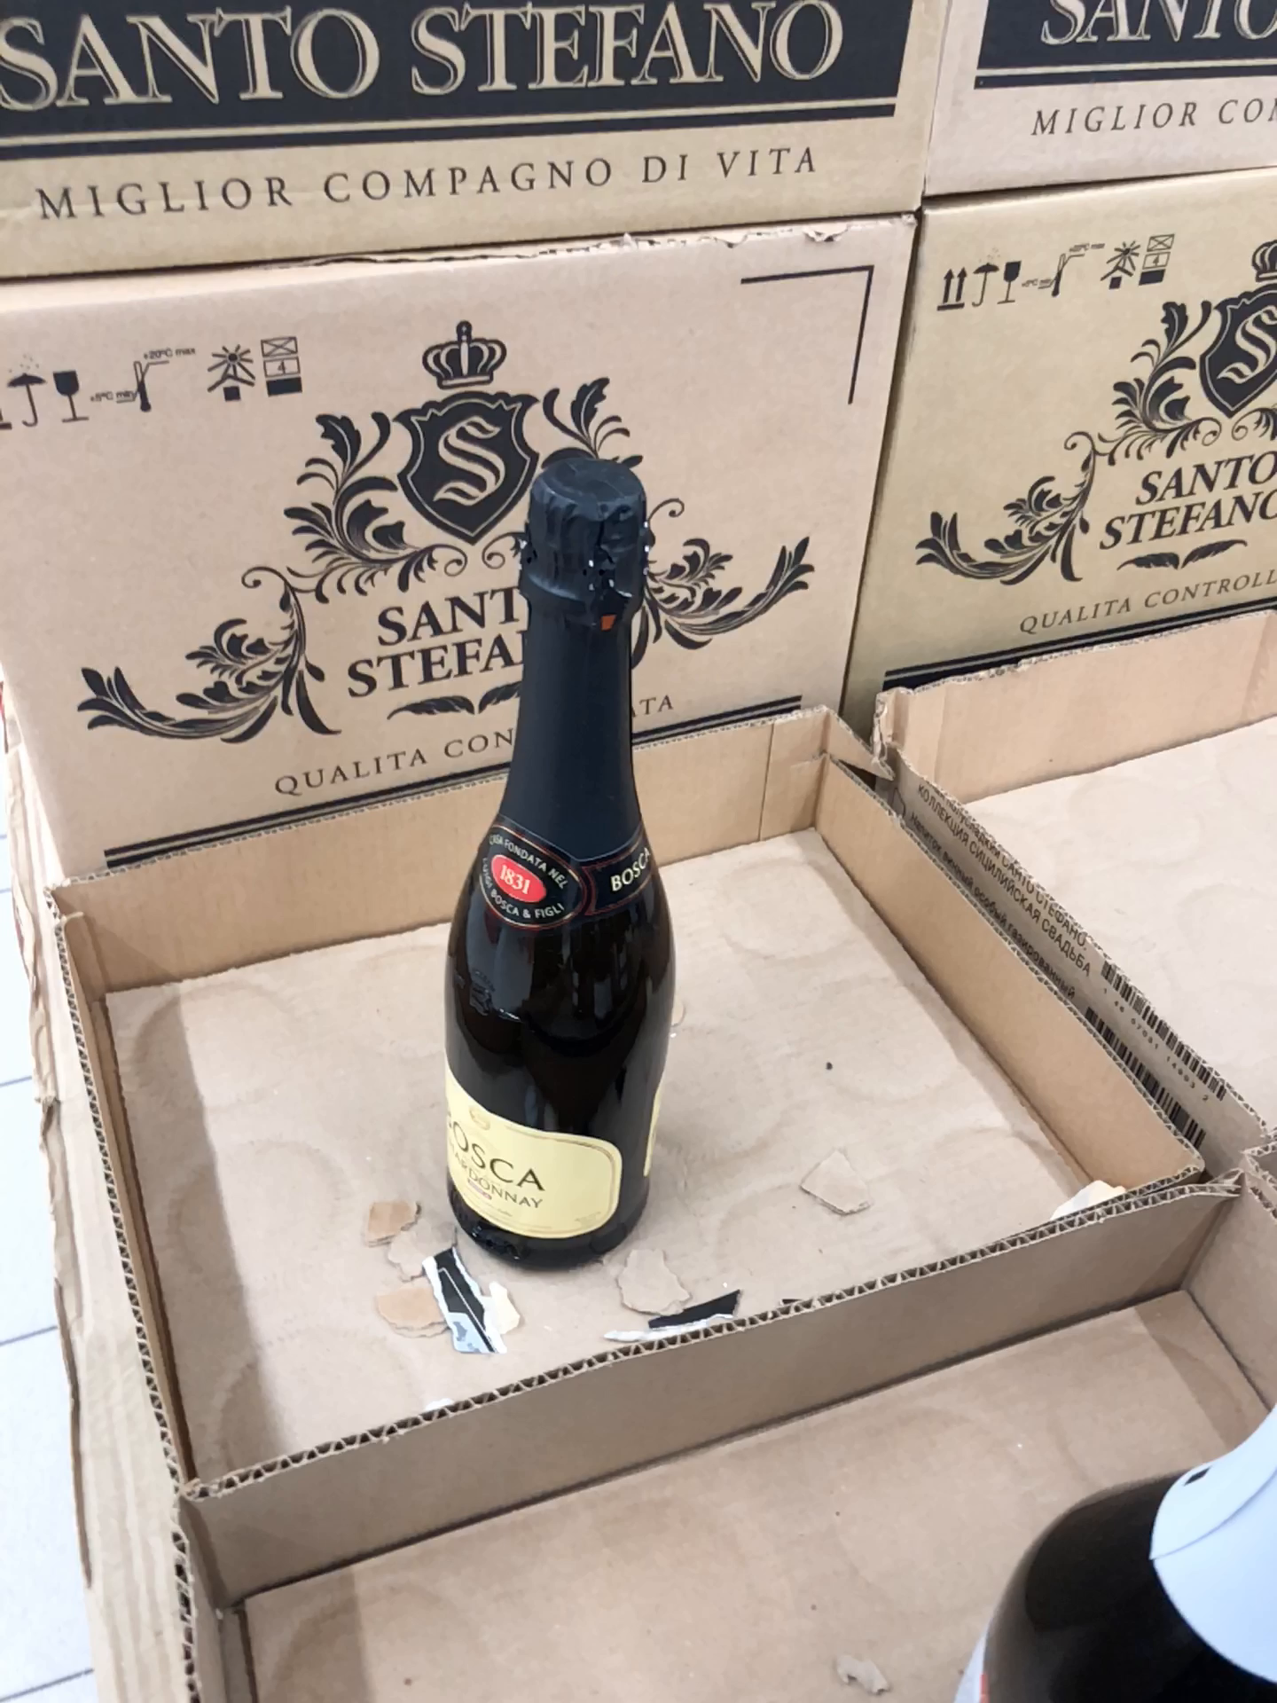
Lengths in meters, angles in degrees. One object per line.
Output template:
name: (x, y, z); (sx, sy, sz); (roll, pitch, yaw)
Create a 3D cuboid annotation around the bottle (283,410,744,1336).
bottle: (-0.037, 0.026, 0.470); (0.090, 0.308, 0.080); (33, 50, 30)
